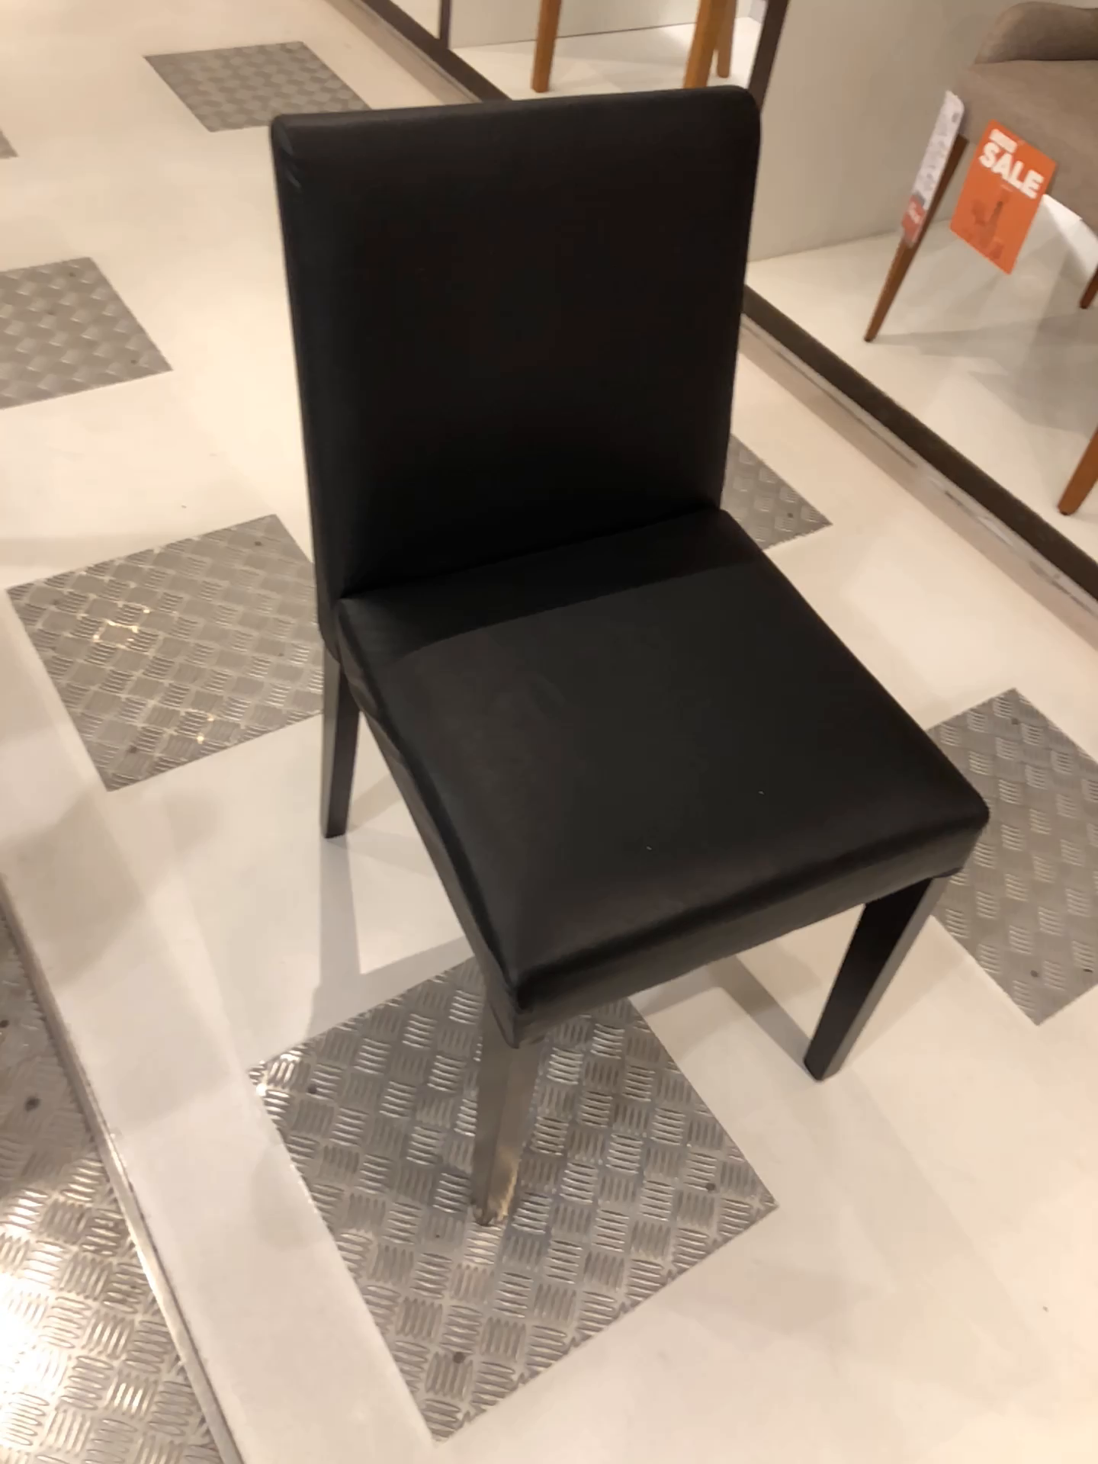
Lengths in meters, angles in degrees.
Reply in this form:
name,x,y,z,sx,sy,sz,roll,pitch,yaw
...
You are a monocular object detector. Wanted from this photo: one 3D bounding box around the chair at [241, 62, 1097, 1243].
name,x,y,z,sx,sy,sz,roll,pitch,yaw
chair,0.060,-0.039,1.081,0.471,0.824,0.552,-15,53,-22
